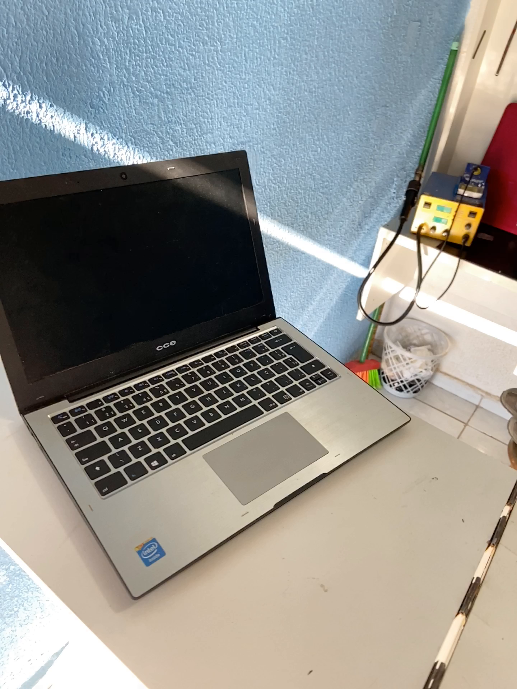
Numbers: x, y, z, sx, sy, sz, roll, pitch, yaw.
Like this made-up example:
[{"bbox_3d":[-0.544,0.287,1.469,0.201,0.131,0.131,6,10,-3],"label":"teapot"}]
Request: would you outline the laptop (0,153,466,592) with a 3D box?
[{"bbox_3d":[-0.051,-0.025,0.496,0.314,0.181,0.304,-21,45,-34],"label":"laptop"}]
